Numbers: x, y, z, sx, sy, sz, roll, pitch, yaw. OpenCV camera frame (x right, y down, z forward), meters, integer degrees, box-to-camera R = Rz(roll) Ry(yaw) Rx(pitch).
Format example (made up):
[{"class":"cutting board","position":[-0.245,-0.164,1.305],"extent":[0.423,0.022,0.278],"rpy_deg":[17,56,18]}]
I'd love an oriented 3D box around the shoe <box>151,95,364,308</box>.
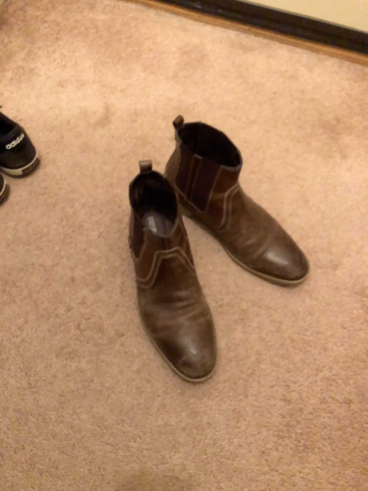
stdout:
[{"class":"shoe","position":[0.095,-0.068,0.651],"extent":[0.298,0.158,0.119],"rpy_deg":[42,69,16]}]

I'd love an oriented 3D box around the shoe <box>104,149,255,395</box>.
[{"class":"shoe","position":[-0.020,0.038,0.592],"extent":[0.119,0.158,0.299],"rpy_deg":[-12,65,-9]}]
